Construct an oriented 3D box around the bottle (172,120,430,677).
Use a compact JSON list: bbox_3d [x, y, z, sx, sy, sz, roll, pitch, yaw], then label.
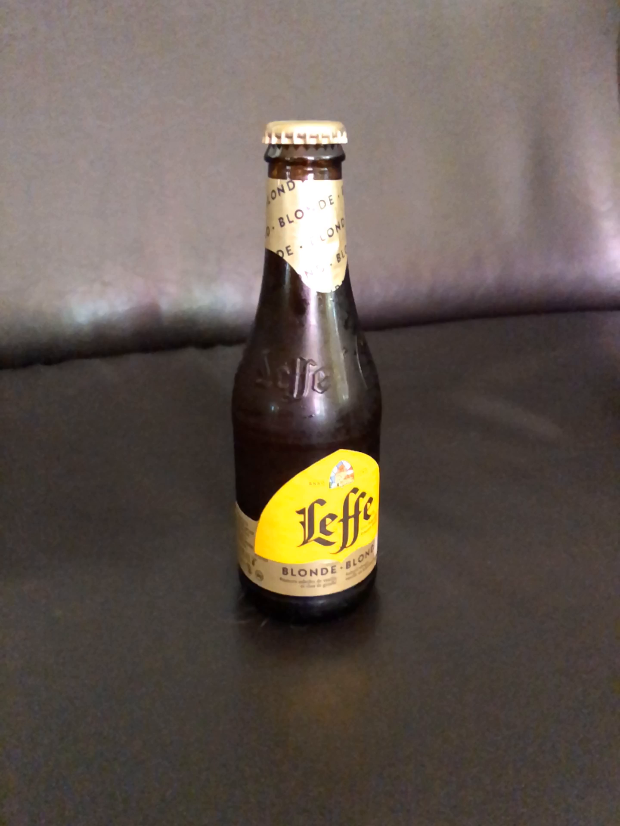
[{"bbox_3d":[-0.003,-0.005,0.256,0.060,0.189,0.060,-1,24,0],"label":"bottle"}]
